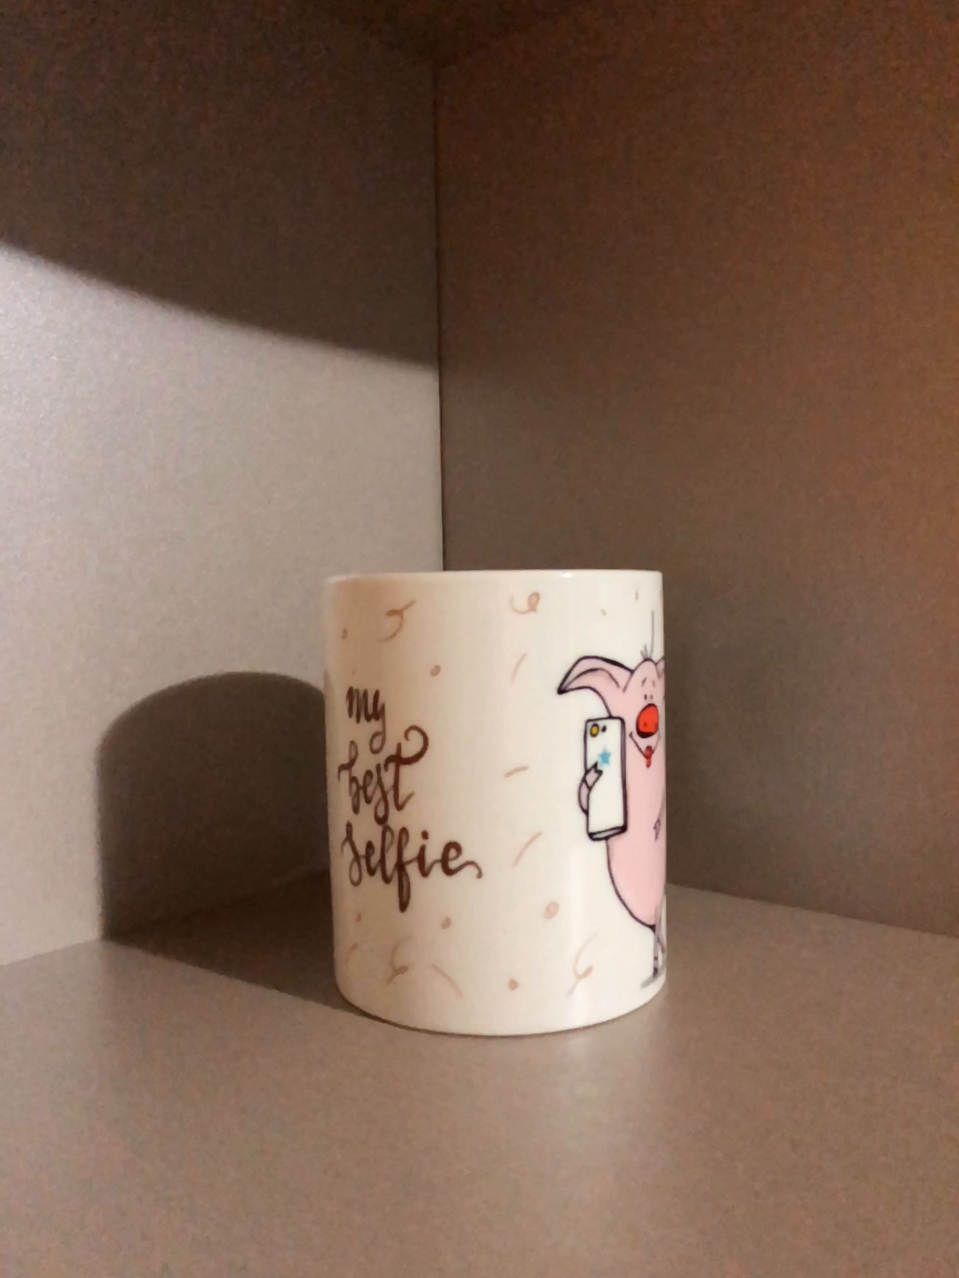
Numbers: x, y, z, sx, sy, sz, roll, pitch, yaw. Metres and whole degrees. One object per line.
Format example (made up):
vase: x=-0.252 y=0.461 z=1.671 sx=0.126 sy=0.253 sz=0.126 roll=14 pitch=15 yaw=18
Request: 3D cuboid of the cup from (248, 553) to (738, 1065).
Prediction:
cup: x=0.013 y=0.030 z=0.269 sx=0.086 sy=0.096 sz=0.118 roll=-1 pitch=2 yaw=21
